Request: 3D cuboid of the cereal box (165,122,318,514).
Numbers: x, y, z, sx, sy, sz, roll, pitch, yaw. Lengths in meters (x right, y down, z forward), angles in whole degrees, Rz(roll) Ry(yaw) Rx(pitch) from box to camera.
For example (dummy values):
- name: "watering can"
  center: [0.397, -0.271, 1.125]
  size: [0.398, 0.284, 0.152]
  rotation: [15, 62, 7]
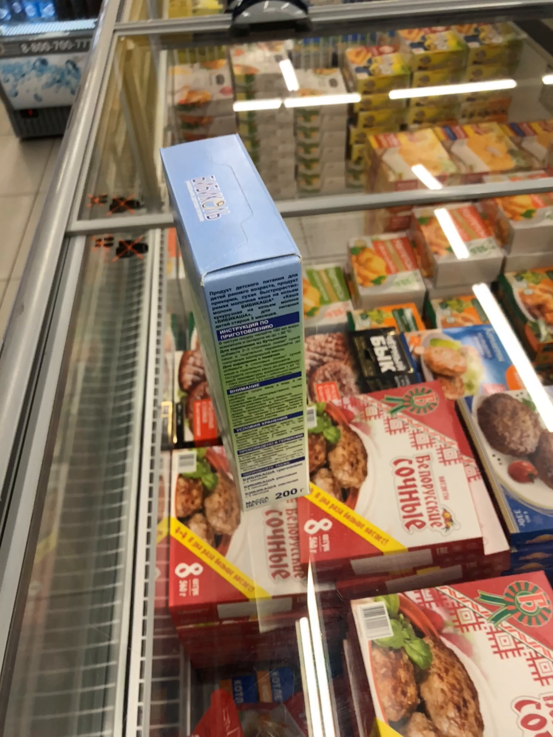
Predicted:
- name: "cereal box"
  center: [-0.019, -0.026, 0.389]
  size: [0.050, 0.199, 0.141]
  rotation: [-12, 46, -8]
